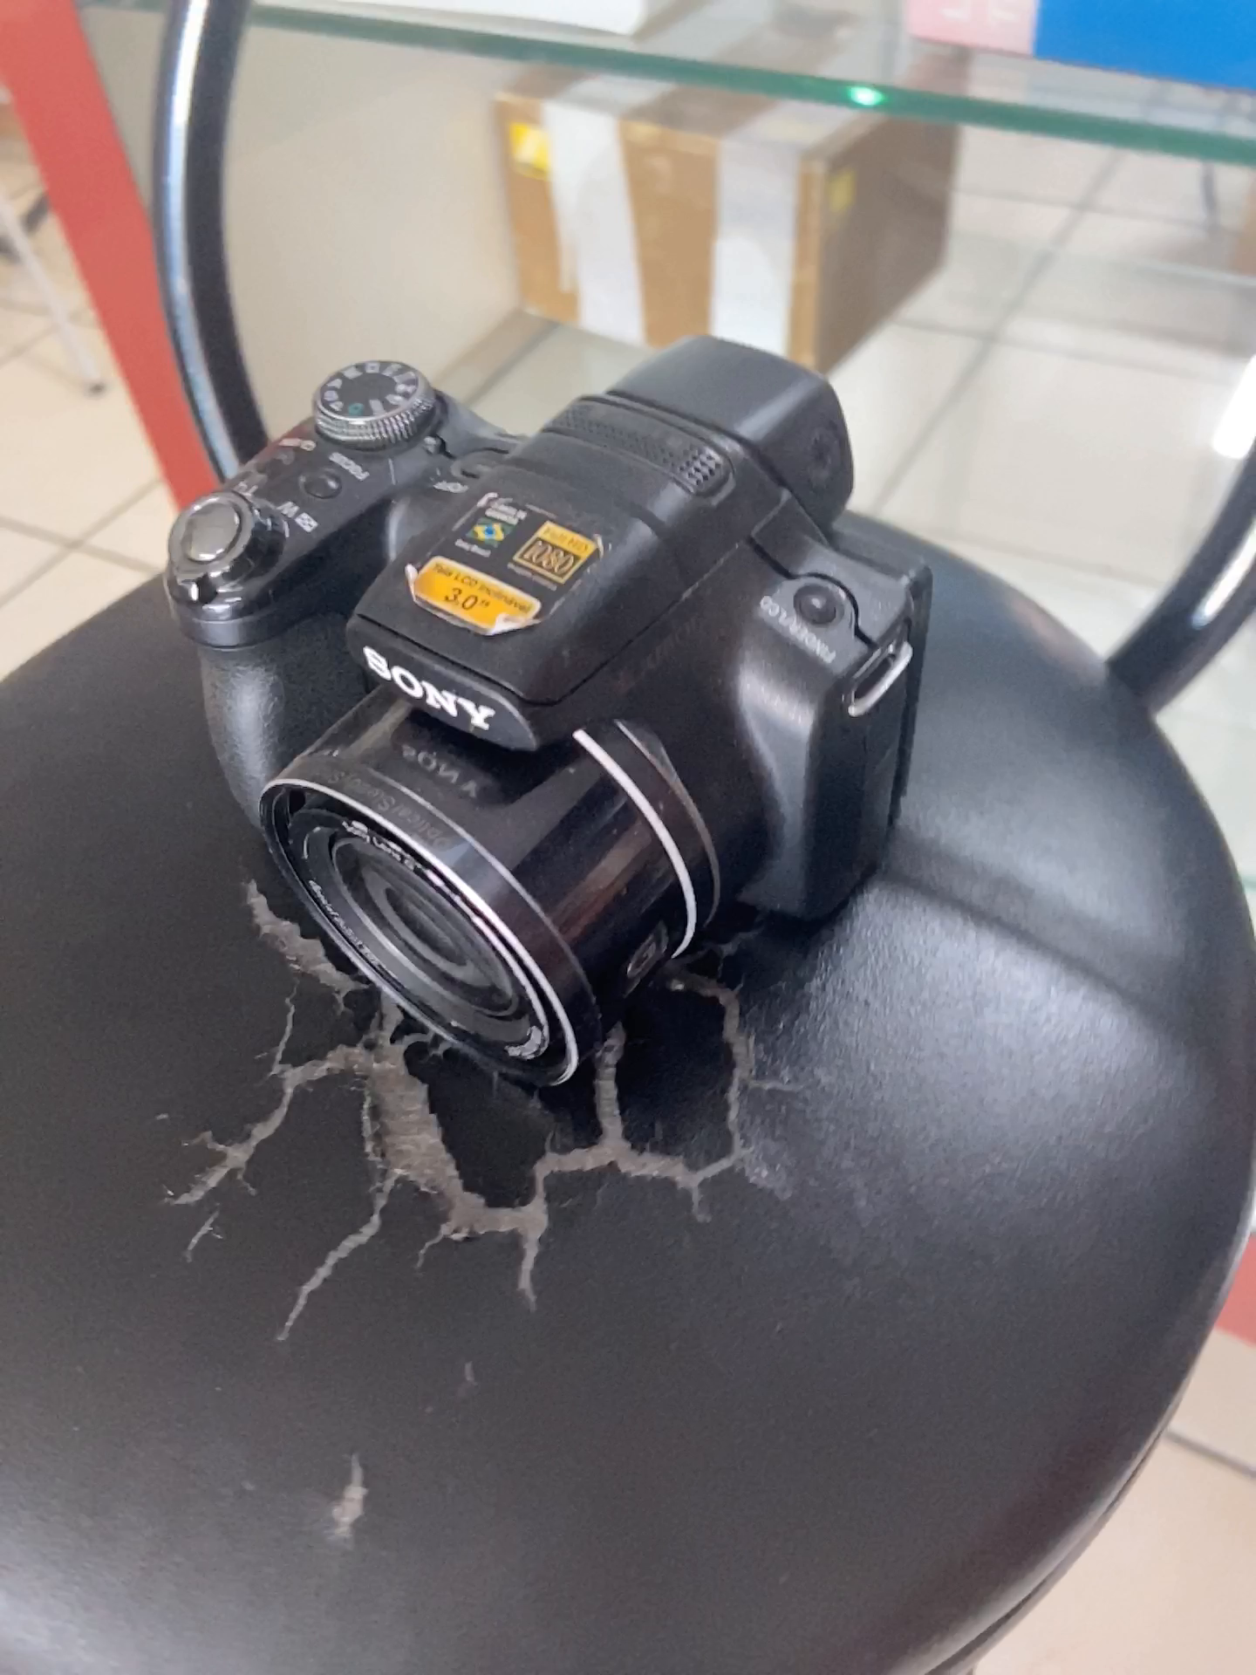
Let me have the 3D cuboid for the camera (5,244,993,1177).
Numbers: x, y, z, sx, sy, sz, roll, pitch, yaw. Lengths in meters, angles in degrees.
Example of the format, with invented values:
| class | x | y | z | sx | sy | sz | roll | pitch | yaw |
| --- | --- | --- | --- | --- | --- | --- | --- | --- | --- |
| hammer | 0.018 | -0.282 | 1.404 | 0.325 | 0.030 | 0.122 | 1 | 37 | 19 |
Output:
| class | x | y | z | sx | sy | sz | roll | pitch | yaw |
| --- | --- | --- | --- | --- | --- | --- | --- | --- | --- |
| camera | -0.014 | -0.027 | 0.216 | 0.100 | 0.080 | 0.100 | 28 | 56 | 27 |
